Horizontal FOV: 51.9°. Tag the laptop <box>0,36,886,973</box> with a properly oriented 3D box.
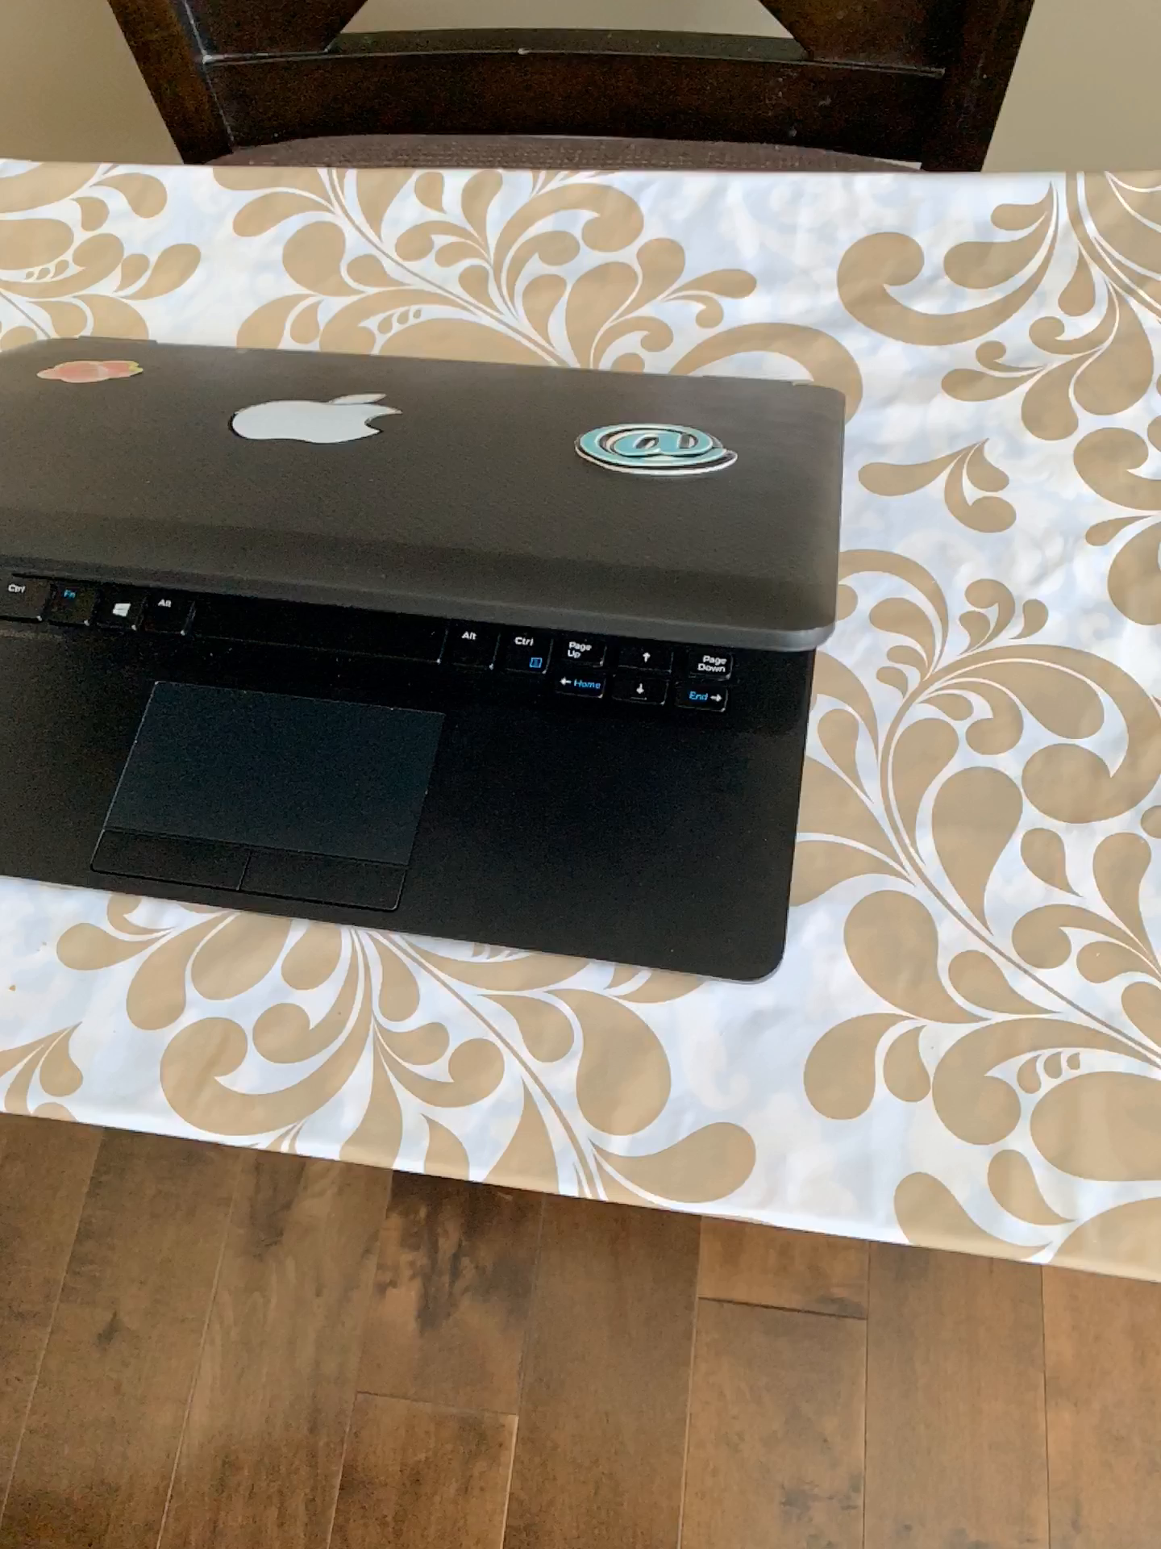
[{"bbox_3d":[-0.082,-0.078,0.338,0.300,0.127,0.199,7,66,9],"label":"laptop"}]
